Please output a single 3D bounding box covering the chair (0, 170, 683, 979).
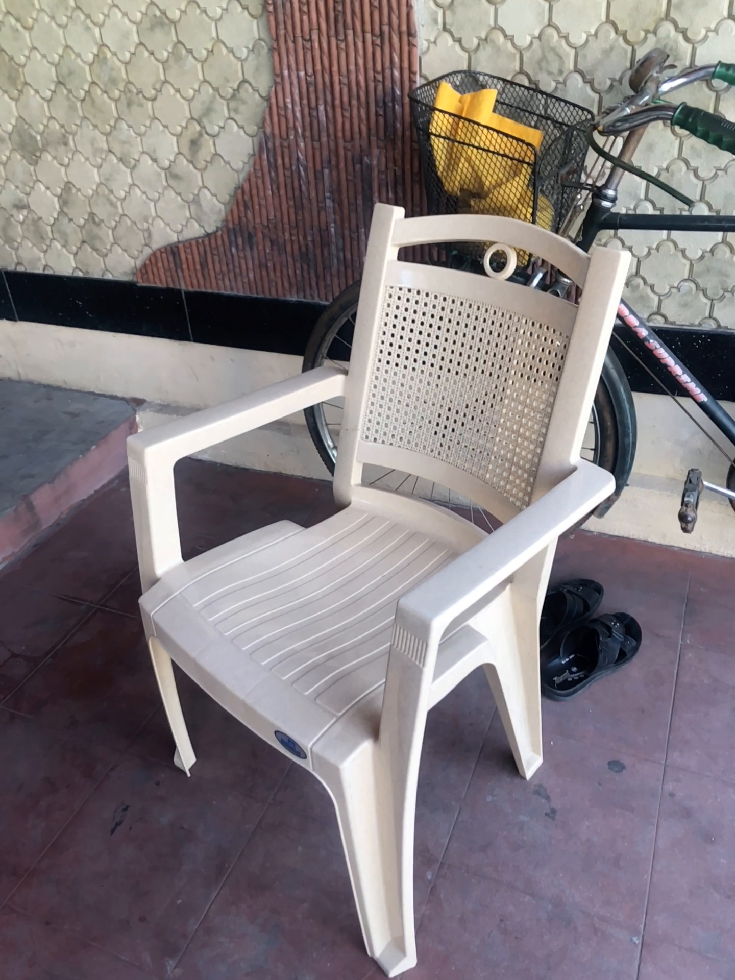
[{"bbox_3d":[-0.036,0.081,1.111,0.552,0.826,0.591,-30,41,-33],"label":"chair"}]
